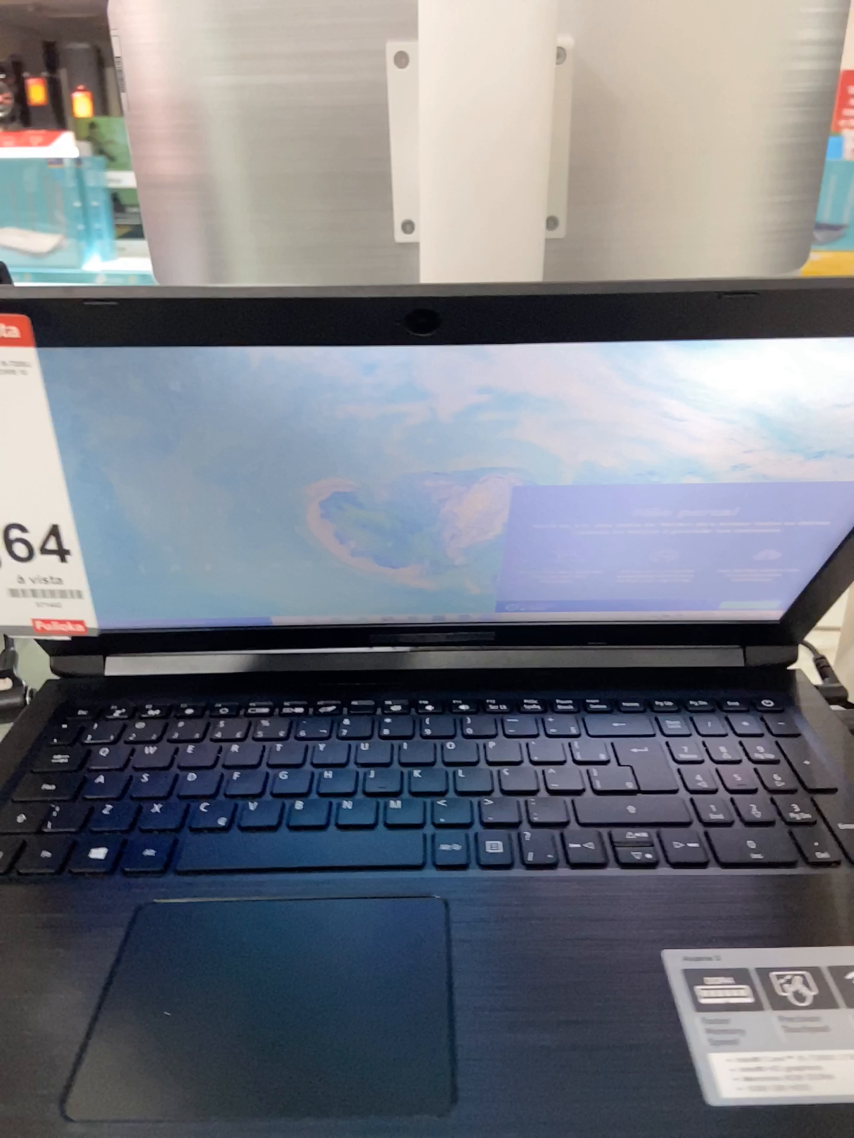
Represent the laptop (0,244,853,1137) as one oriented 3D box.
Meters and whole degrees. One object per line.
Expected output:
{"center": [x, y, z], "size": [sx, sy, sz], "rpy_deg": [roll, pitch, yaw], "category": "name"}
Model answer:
{"center": [0.000, 0.011, 0.290], "size": [0.367, 0.193, 0.235], "rpy_deg": [-2, 24, 0], "category": "laptop"}
